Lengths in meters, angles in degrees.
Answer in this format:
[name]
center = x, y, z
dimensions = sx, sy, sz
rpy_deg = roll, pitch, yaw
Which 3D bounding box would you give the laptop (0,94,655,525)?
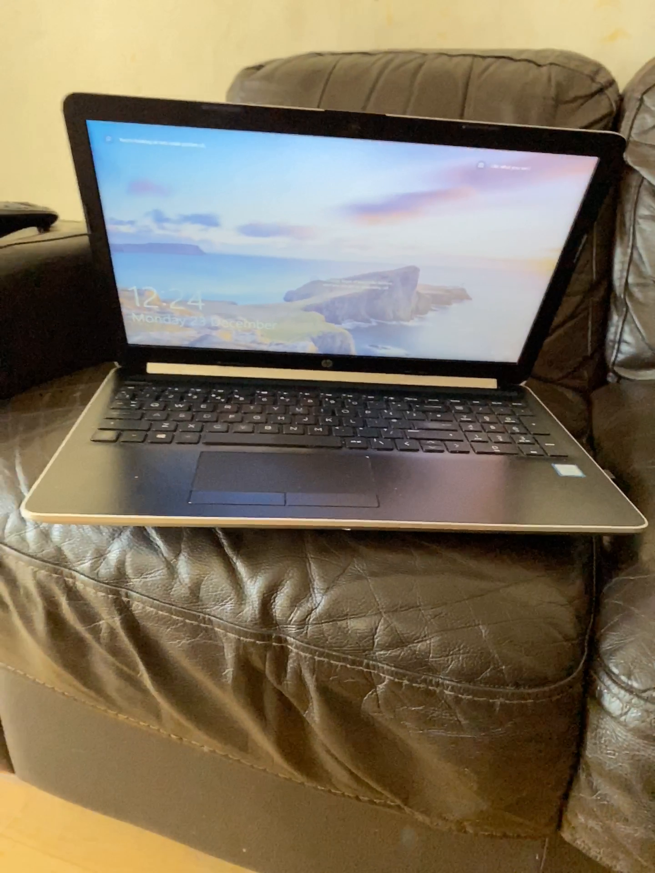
[laptop]
center = 0.005, -0.100, 0.464
dimensions = 0.371, 0.212, 0.238
rpy_deg = 1, 24, -4
